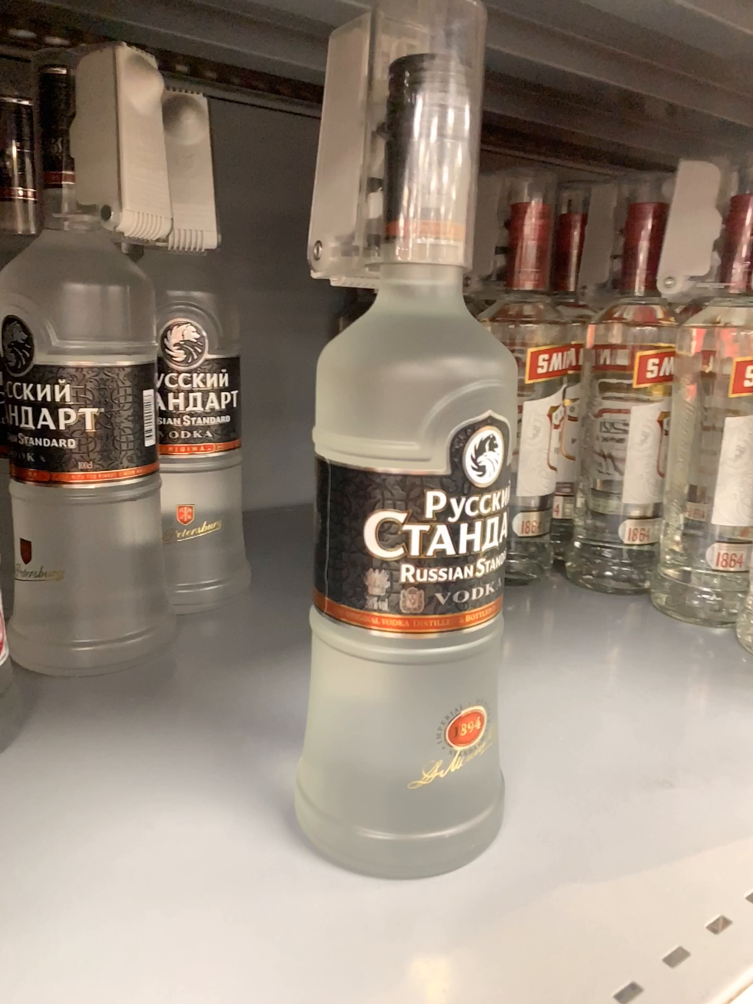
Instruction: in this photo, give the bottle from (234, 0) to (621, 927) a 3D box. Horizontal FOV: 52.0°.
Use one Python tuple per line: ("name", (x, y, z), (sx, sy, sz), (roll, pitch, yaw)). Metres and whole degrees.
("bottle", (0.010, -0.016, 0.283), (0.092, 0.289, 0.088), (2, 12, 0))
